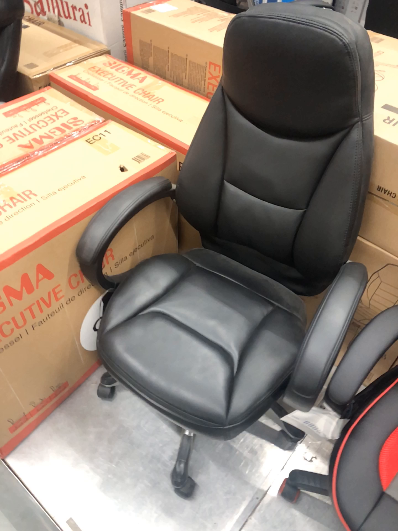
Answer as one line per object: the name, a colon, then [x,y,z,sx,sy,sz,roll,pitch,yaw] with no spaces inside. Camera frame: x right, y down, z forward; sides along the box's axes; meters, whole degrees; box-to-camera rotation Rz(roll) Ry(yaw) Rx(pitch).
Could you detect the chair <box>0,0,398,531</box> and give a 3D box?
chair: [0.075,0.037,1.116,0.721,1.063,0.744,26,52,20]
